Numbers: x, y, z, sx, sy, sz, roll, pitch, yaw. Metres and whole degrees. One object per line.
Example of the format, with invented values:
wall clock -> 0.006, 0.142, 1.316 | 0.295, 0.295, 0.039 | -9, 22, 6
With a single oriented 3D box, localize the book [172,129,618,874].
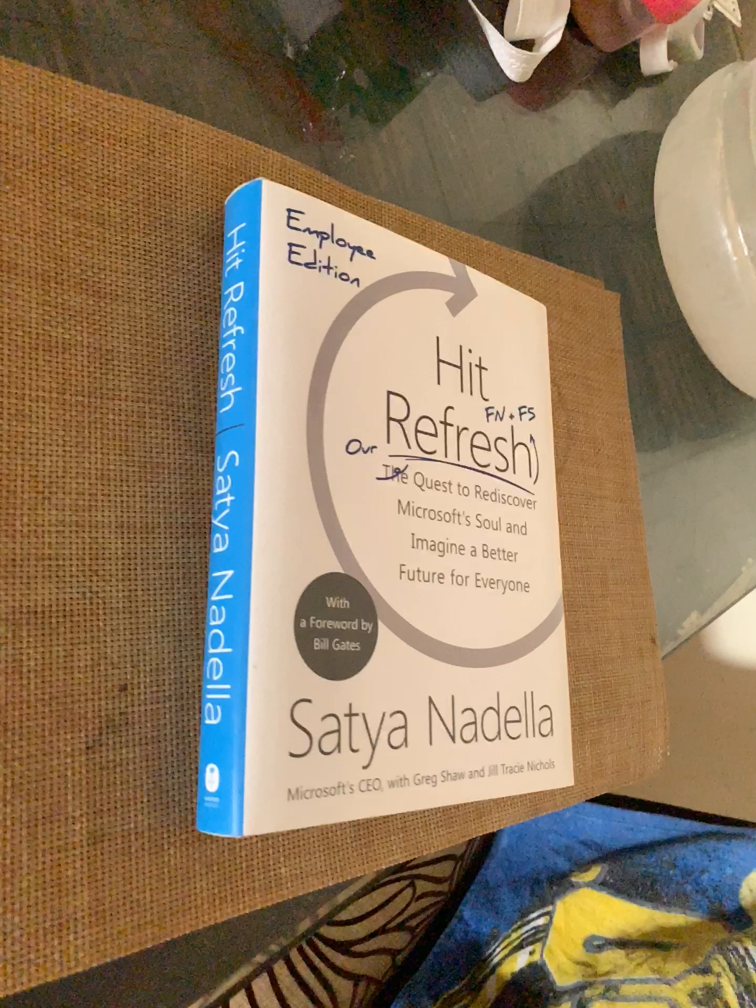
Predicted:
book -> 0.019, 0.002, 0.328 | 0.191, 0.040, 0.250 | 11, 72, -38
